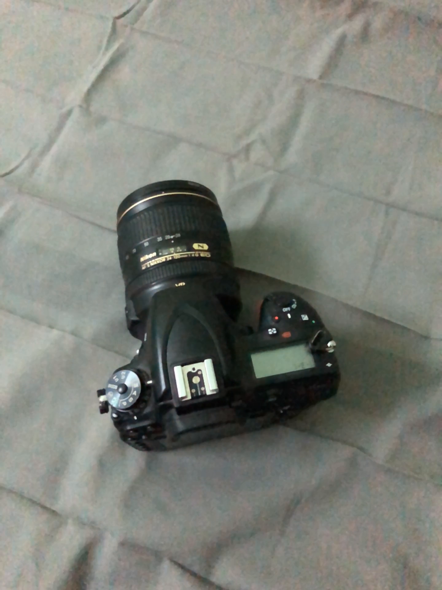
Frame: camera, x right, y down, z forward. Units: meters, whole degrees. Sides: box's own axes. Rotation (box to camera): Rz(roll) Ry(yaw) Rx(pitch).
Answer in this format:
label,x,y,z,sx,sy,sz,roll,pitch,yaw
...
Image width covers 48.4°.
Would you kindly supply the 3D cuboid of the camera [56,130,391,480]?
label,x,y,z,sx,sy,sz,roll,pitch,yaw
camera,-0.006,0.015,0.322,0.146,0.135,0.164,-12,66,-3
